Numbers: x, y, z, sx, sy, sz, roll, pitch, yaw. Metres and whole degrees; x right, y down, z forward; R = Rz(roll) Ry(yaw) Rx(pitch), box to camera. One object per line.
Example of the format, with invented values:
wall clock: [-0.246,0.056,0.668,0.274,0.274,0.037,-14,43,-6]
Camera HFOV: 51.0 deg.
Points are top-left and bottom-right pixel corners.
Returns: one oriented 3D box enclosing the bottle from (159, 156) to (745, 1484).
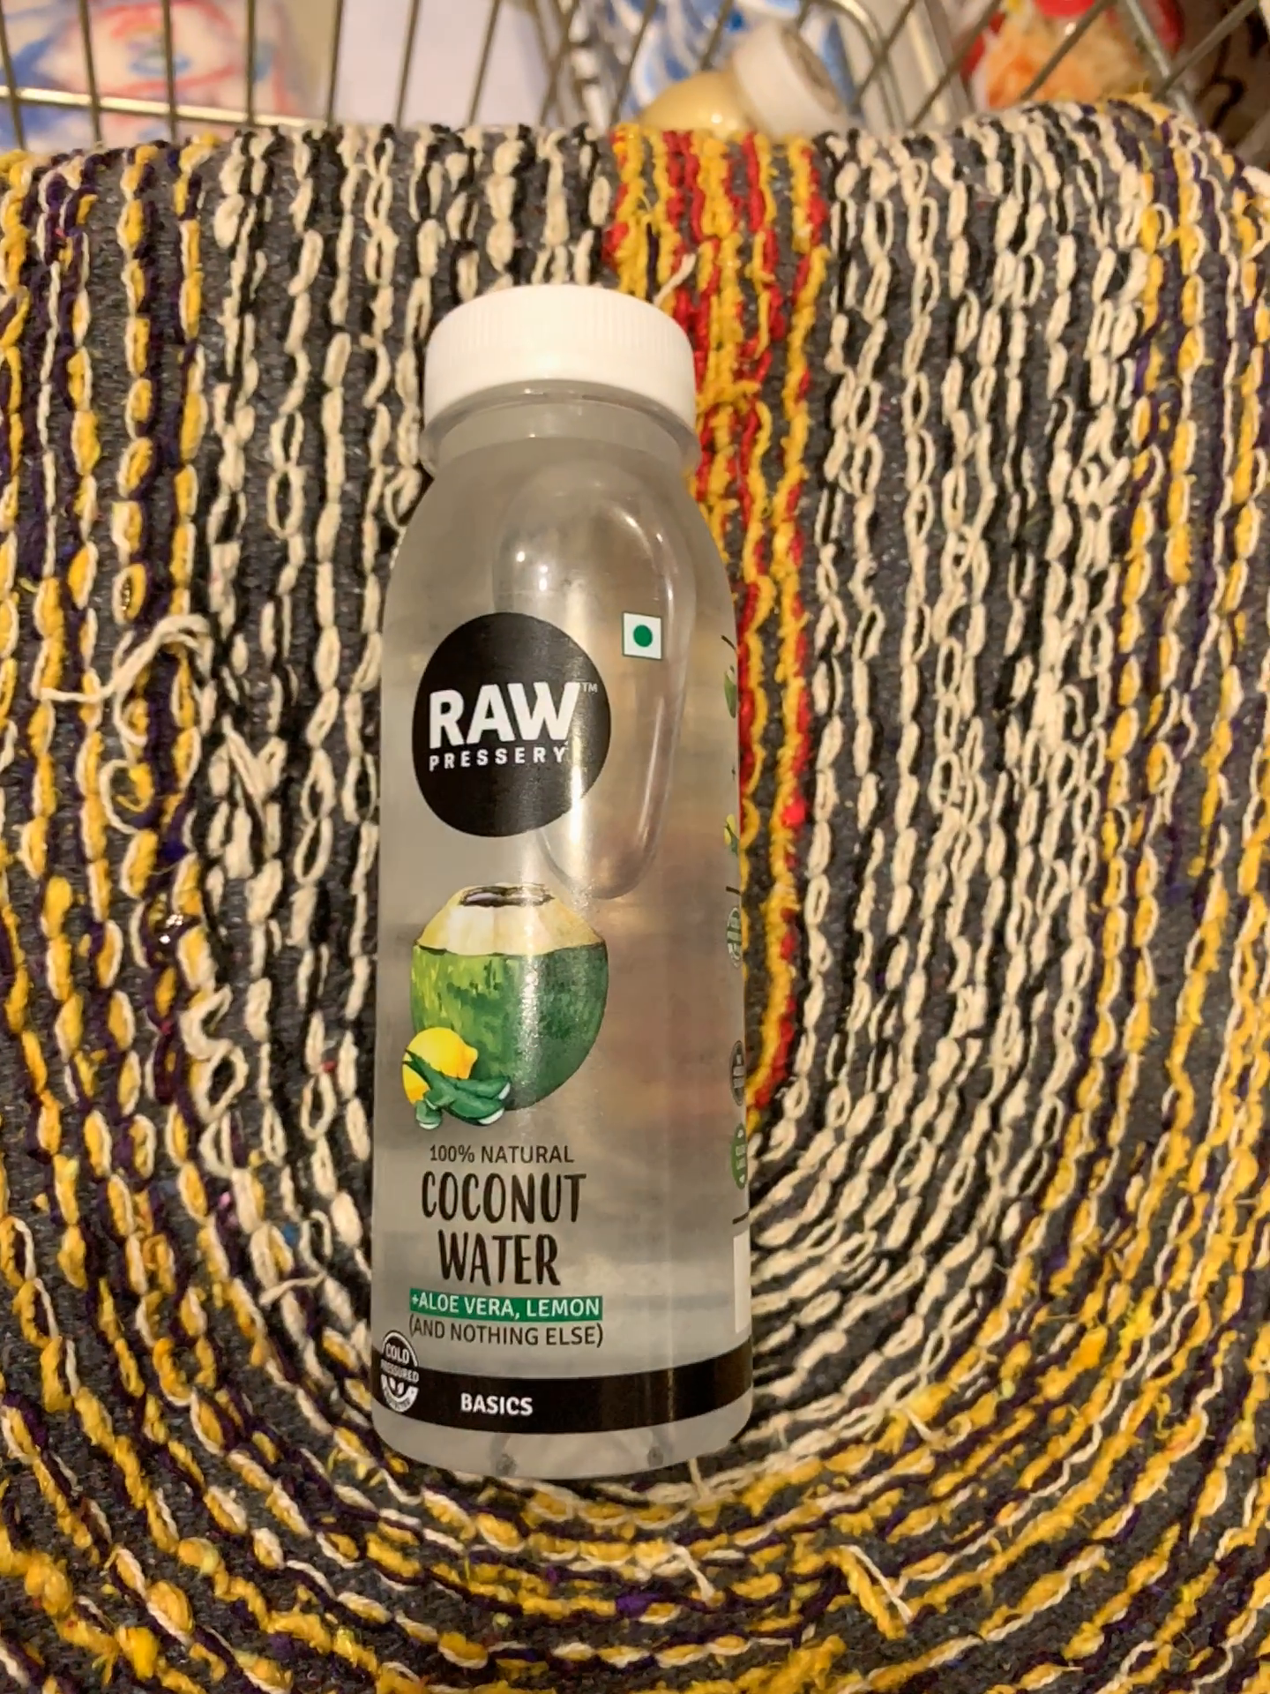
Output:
bottle: [-0.019,-0.004,0.176,0.060,0.050,0.150,-2,80,8]
